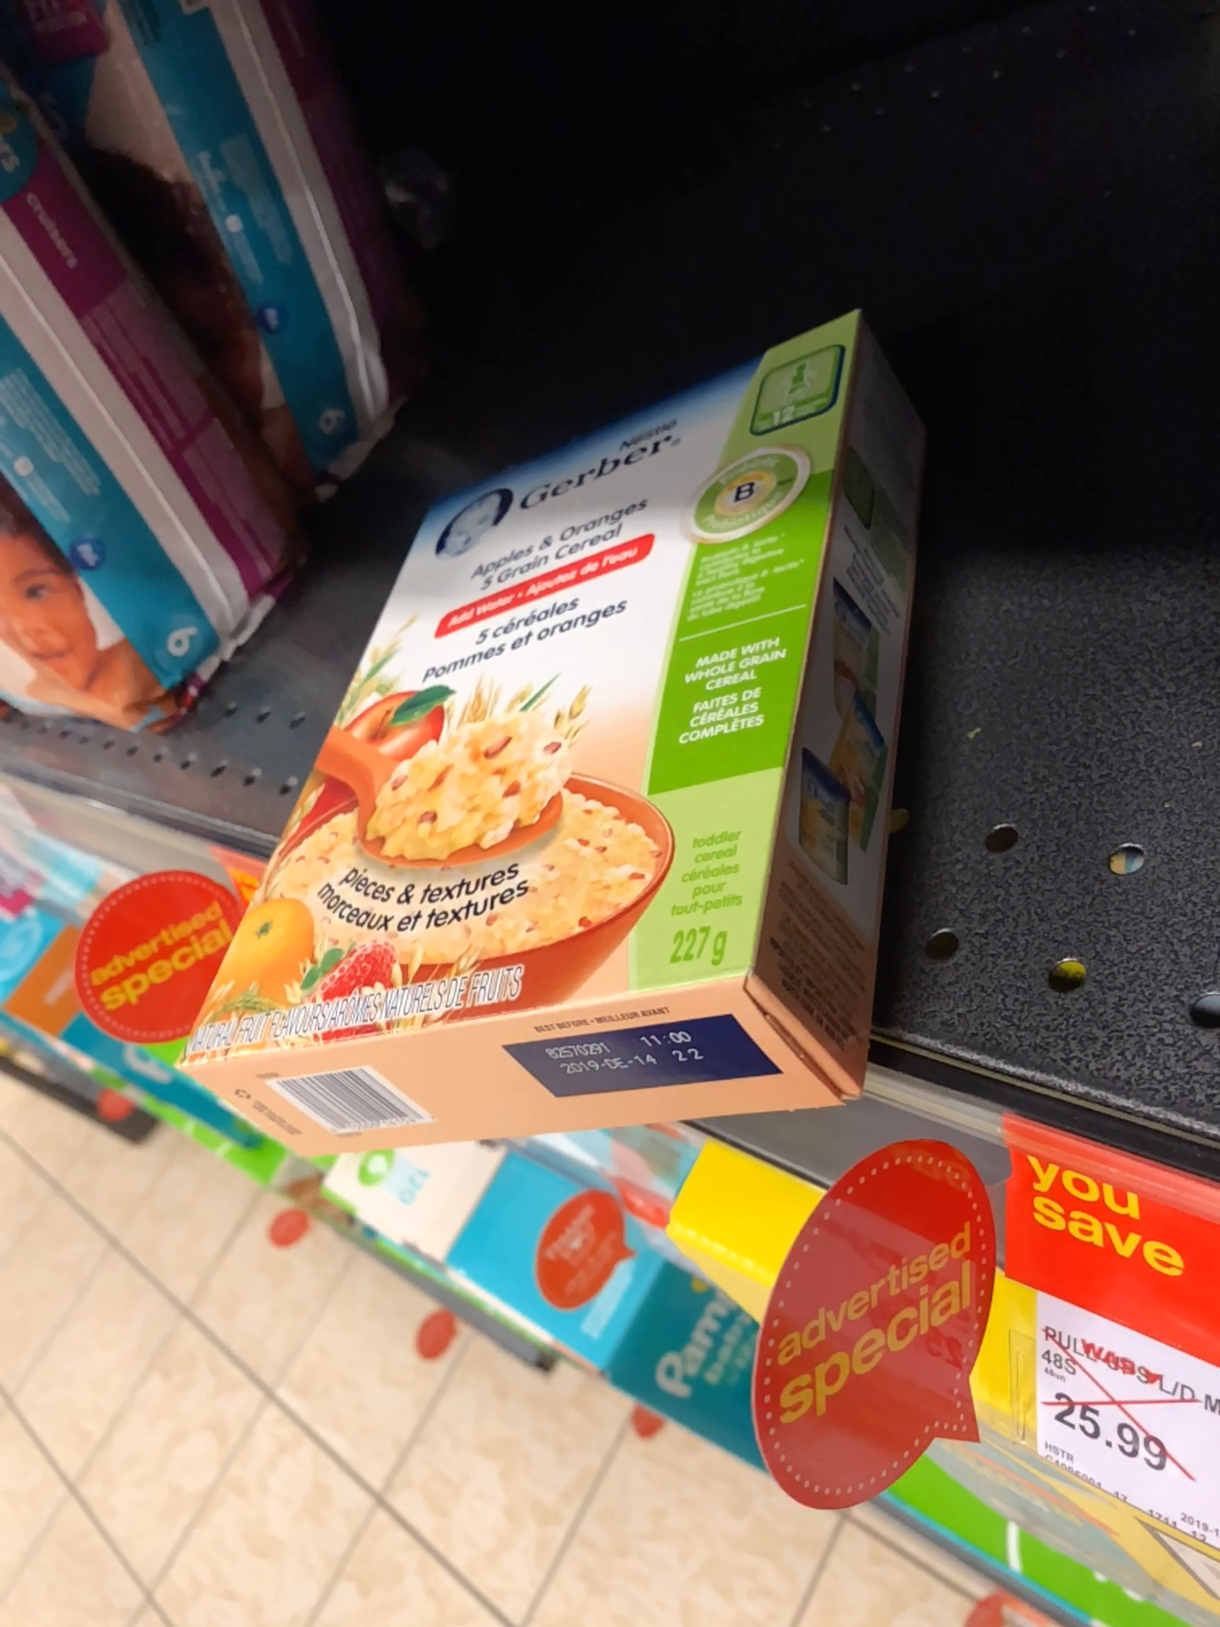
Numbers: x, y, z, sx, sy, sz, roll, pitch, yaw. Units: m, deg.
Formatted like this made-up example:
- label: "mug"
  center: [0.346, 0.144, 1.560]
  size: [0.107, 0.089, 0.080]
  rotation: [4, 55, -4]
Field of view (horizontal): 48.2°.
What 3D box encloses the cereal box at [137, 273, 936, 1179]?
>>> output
- label: "cereal box"
  center: [-0.007, -0.024, 0.335]
  size: [0.151, 0.050, 0.210]
  rotation: [-14, 45, 33]
